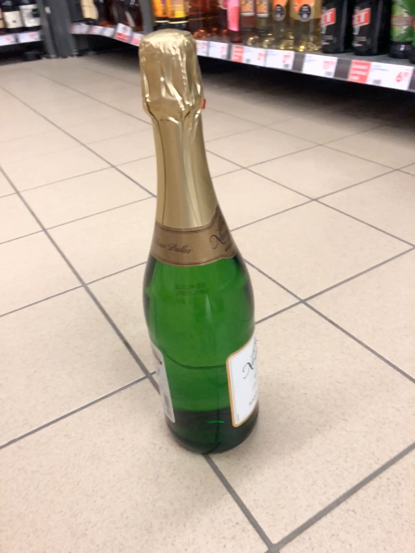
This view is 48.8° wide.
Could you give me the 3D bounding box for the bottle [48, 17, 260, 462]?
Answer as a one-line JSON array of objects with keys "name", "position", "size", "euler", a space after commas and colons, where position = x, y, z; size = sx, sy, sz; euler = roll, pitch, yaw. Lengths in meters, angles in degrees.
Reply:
[{"name": "bottle", "position": [-0.011, -0.007, 0.326], "size": [0.090, 0.298, 0.101], "euler": [-1, 33, 8]}]
